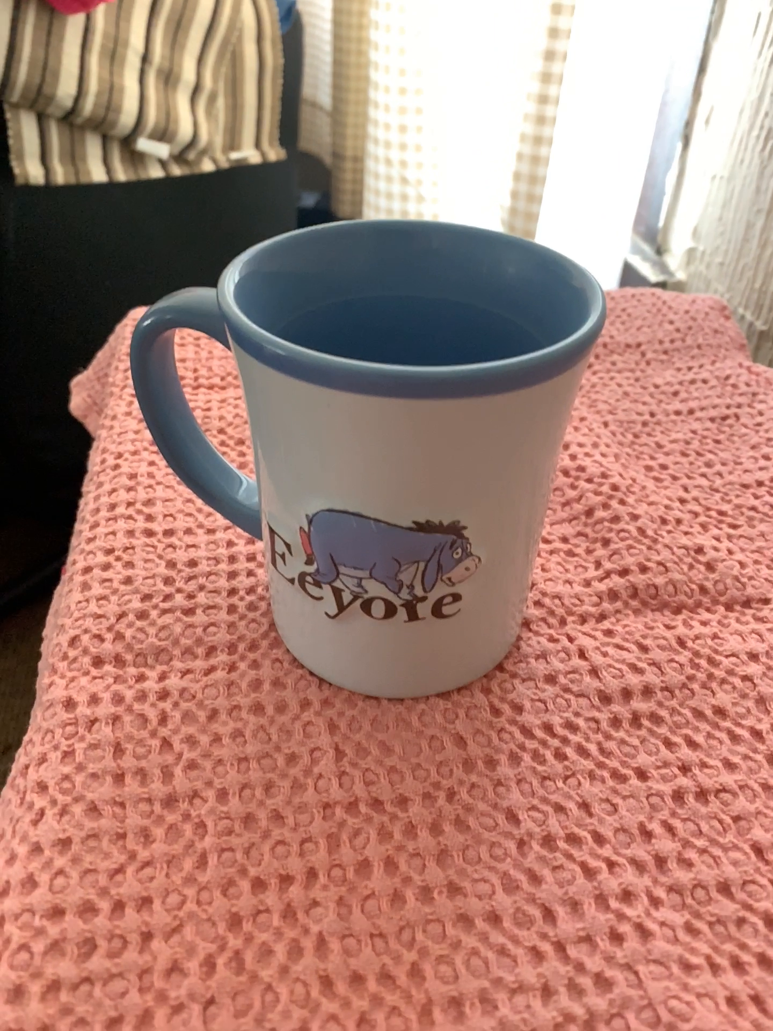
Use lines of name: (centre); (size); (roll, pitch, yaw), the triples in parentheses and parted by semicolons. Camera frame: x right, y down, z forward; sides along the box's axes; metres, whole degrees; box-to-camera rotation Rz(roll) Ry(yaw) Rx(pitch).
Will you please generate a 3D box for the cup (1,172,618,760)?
cup: (-0.010, -0.019, 0.208); (0.110, 0.099, 0.091); (13, 39, 14)
